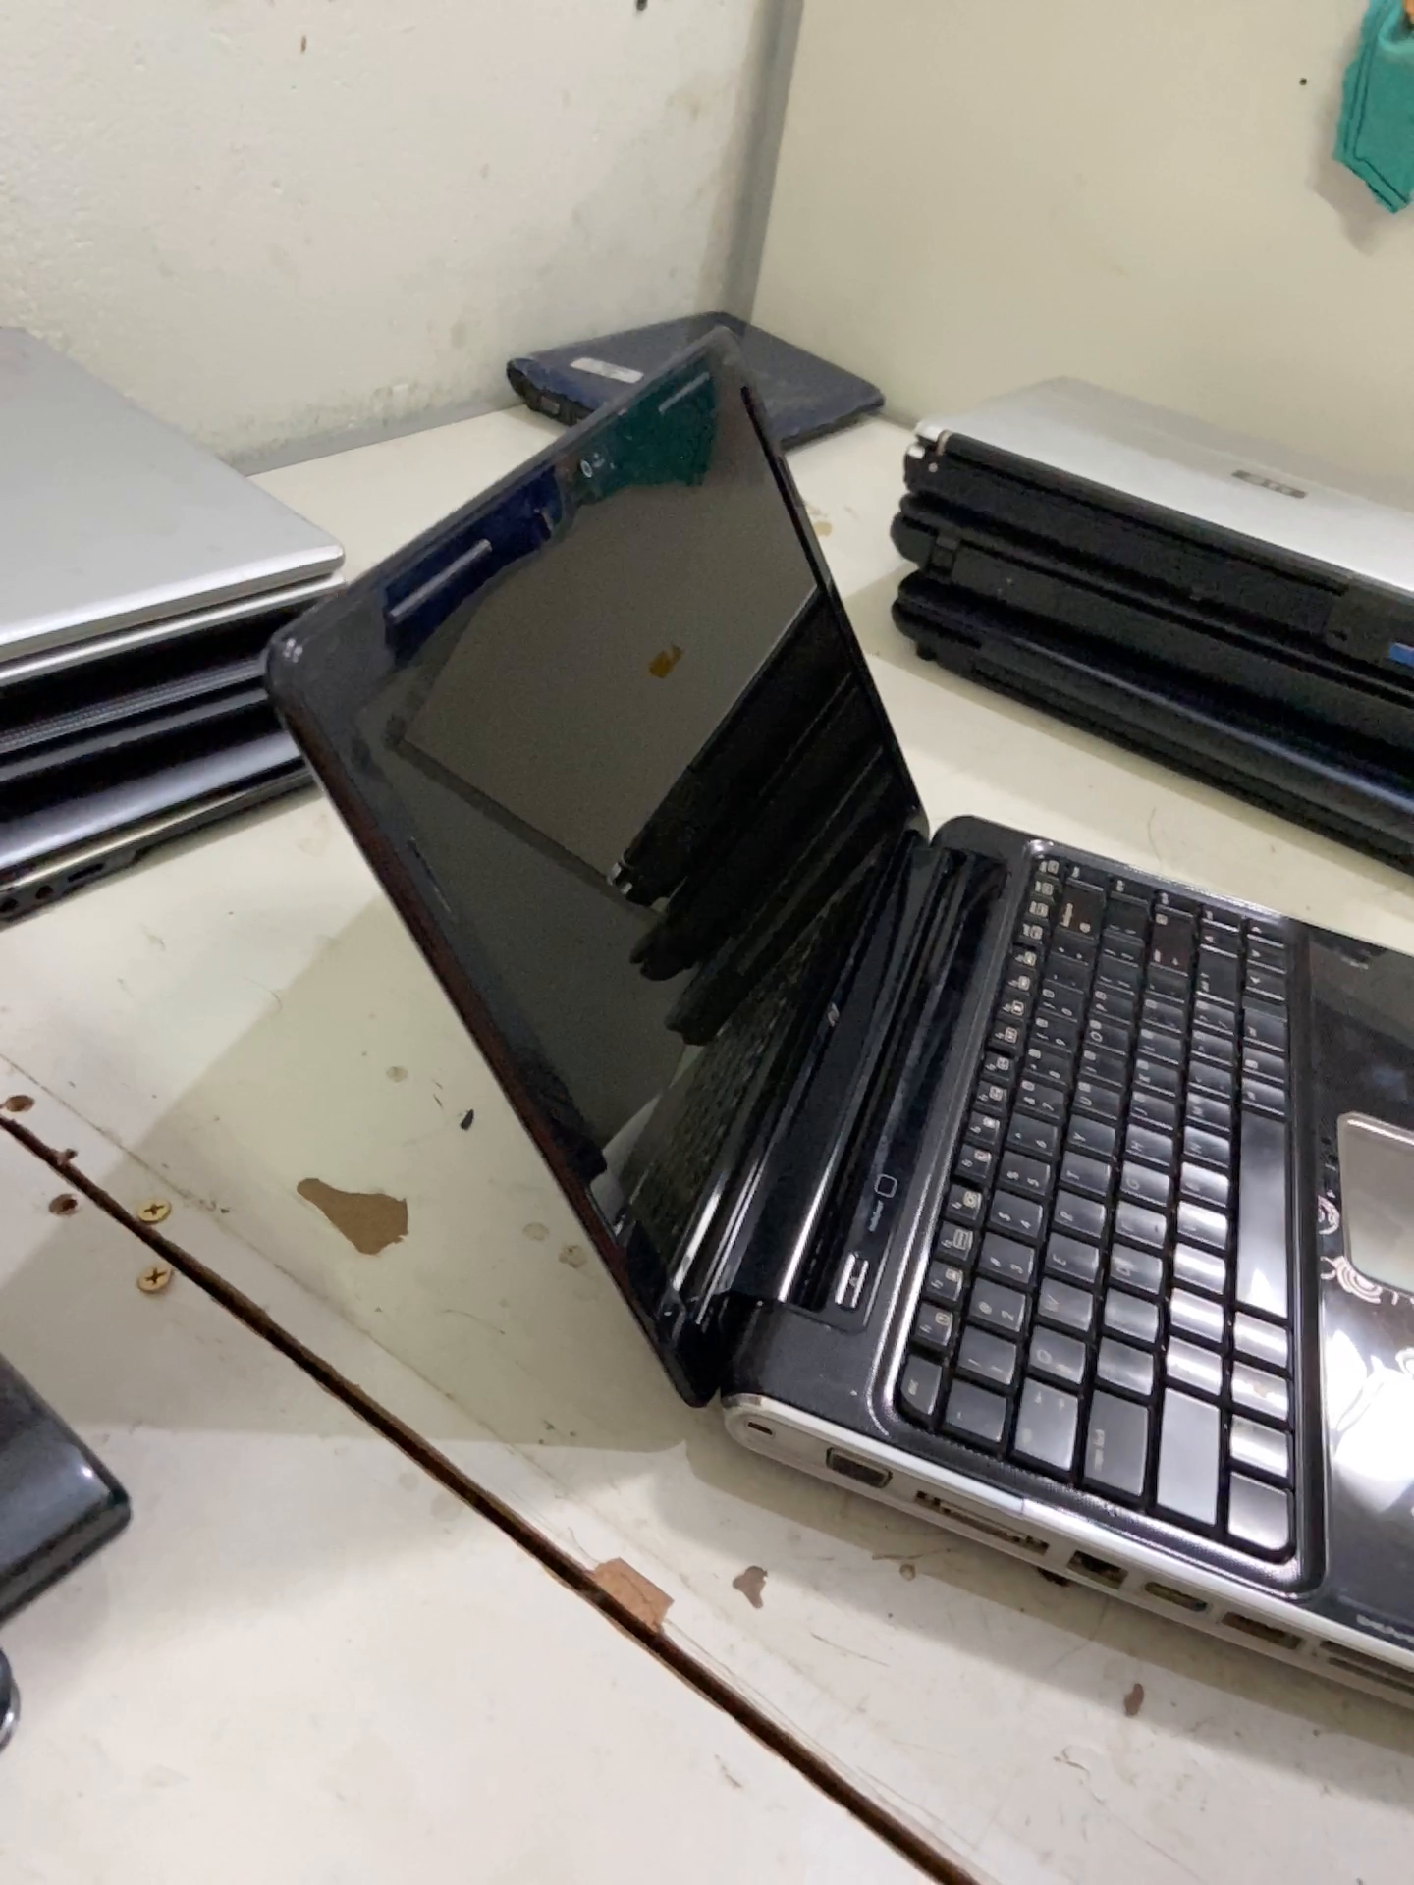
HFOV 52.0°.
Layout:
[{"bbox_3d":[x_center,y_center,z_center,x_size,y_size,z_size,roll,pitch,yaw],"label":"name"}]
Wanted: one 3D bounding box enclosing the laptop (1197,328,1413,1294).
[{"bbox_3d":[0.444,-0.096,0.628,0.371,0.175,0.332,20,38,12],"label":"laptop"}]
